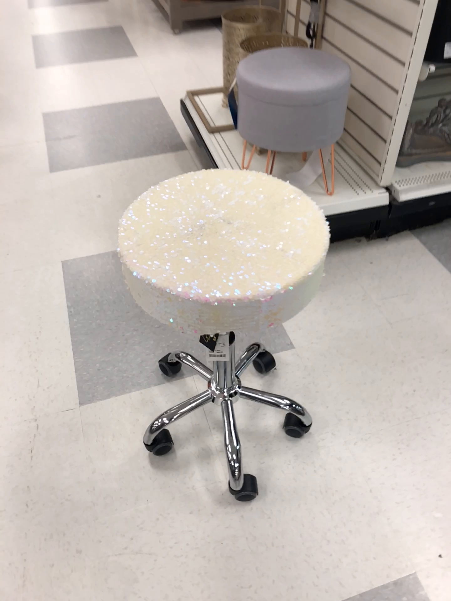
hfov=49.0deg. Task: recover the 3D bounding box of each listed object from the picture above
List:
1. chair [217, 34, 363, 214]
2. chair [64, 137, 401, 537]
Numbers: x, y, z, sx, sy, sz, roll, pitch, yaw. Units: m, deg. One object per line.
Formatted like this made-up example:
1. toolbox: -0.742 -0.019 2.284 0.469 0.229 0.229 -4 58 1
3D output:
1. chair: 0.169 -0.532 1.492 0.306 0.383 0.307 -13 46 -11
2. chair: -0.023 0.078 1.023 0.437 0.592 0.467 -13 46 -11
